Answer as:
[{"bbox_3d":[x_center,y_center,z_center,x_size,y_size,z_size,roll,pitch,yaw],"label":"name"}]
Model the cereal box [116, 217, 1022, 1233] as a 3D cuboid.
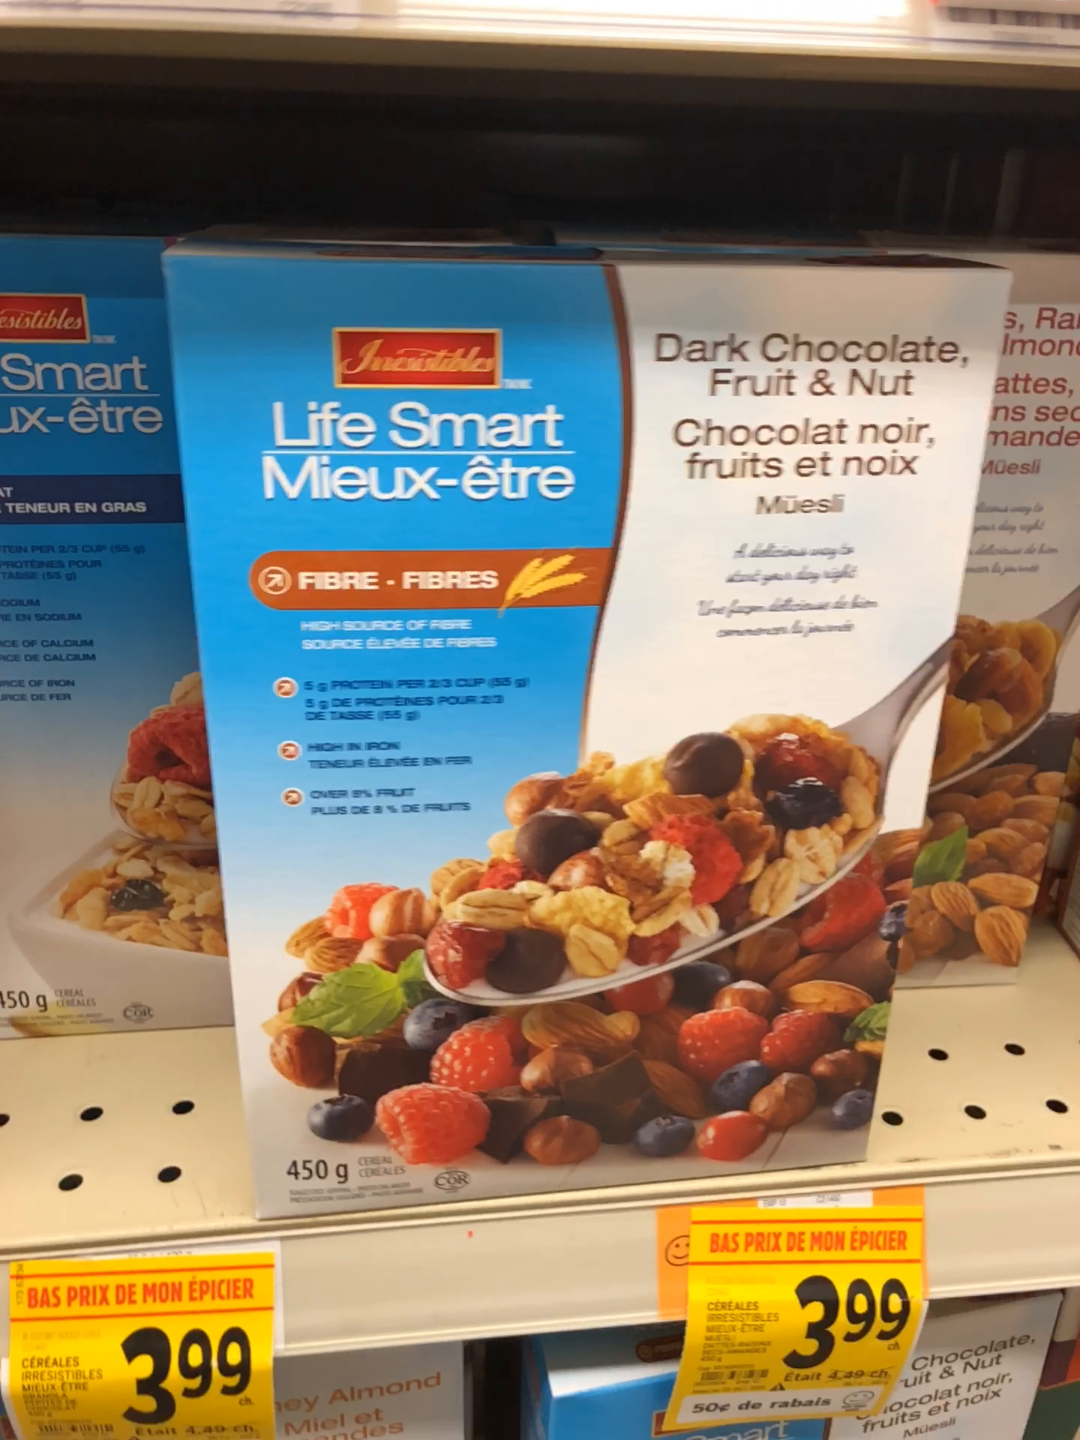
[{"bbox_3d":[0.004,0.009,0.293,0.170,0.238,0.050,-2,24,-8],"label":"cereal box"}]
